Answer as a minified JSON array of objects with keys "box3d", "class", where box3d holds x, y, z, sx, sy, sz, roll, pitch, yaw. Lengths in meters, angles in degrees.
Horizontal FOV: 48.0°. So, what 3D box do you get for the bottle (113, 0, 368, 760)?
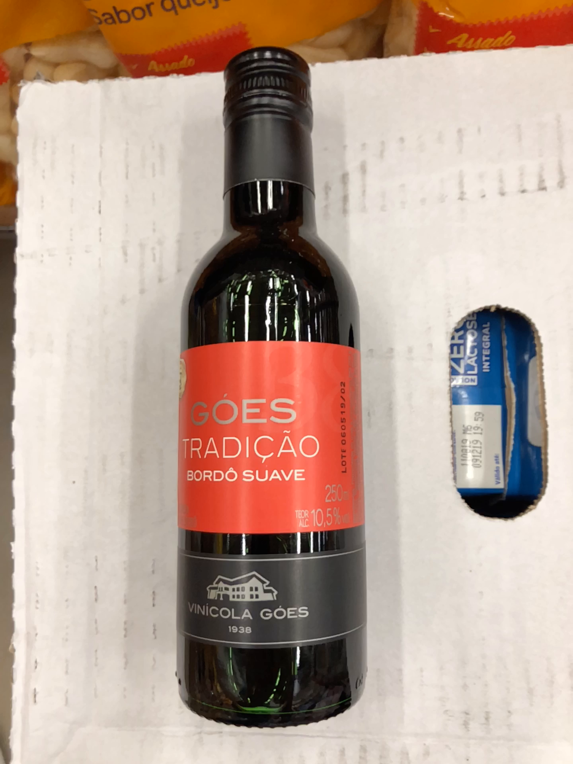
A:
[{"box3d":[-0.012,-0.015,0.186,0.060,0.050,0.210,-3,83,7],"class":"bottle"}]
